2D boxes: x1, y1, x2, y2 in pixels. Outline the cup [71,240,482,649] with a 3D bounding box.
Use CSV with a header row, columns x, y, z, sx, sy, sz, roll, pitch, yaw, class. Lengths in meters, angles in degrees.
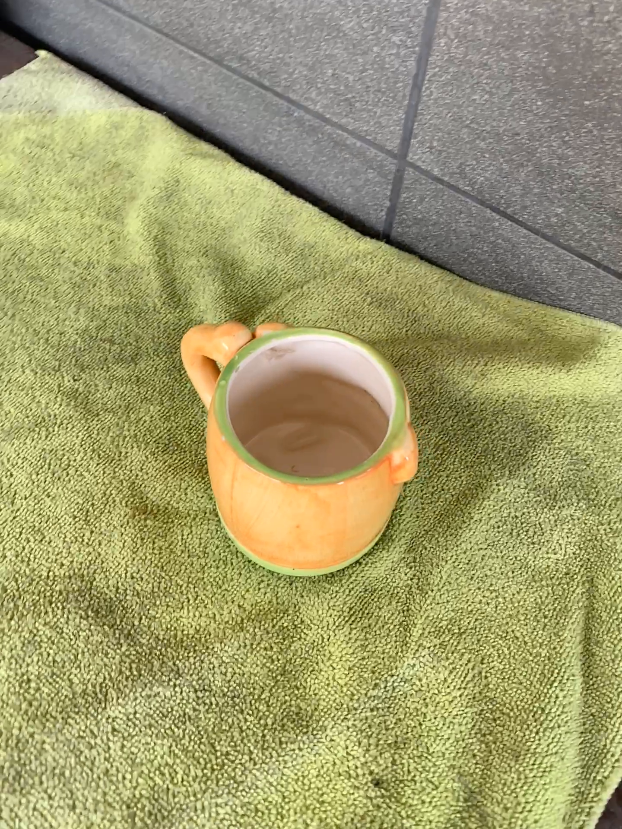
x,y,z,sx,sy,sz,roll,pitch,yaw,class
-0.016,0.014,0.277,0.130,0.100,0.080,35,60,18,cup
